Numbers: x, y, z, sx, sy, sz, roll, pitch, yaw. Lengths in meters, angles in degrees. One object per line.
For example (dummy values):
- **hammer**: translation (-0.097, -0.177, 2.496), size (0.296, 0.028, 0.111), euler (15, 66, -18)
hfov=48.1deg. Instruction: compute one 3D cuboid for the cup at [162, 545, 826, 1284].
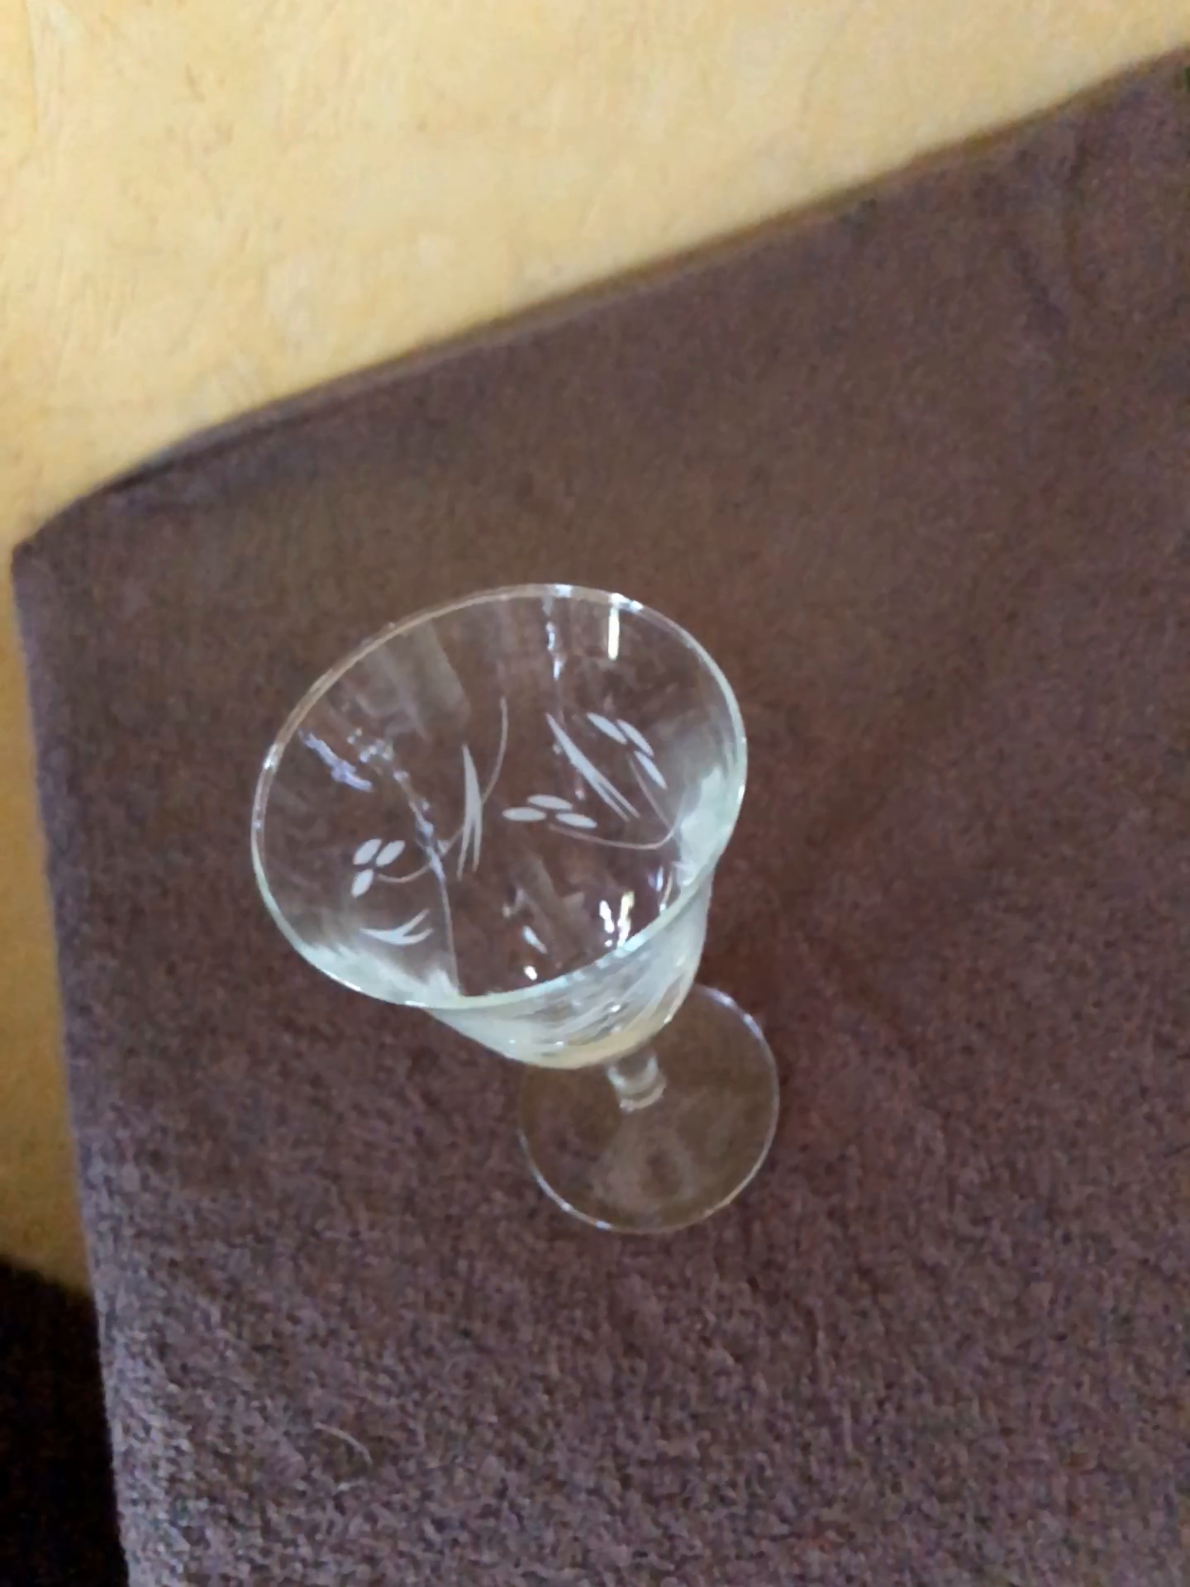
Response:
- **cup**: translation (-0.003, 0.037, 0.281), size (0.090, 0.149, 0.090), euler (-7, 56, 10)
